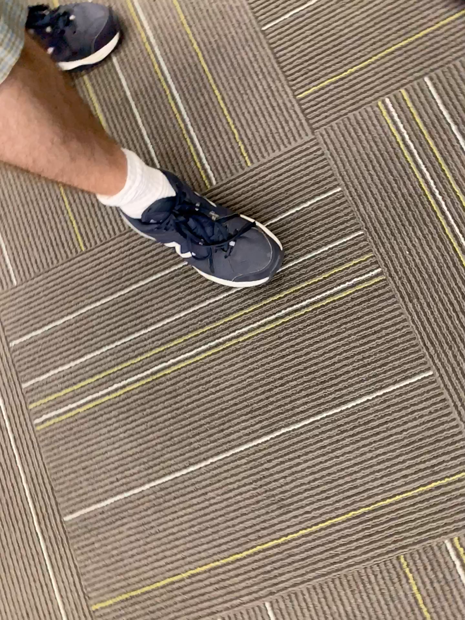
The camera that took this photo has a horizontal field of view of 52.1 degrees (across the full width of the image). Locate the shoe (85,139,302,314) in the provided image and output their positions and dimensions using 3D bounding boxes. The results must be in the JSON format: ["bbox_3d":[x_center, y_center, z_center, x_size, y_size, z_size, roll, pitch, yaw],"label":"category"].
[{"bbox_3d":[-0.063,-0.131,0.743,0.310,0.070,0.130,31,91,15],"label":"shoe"}]
